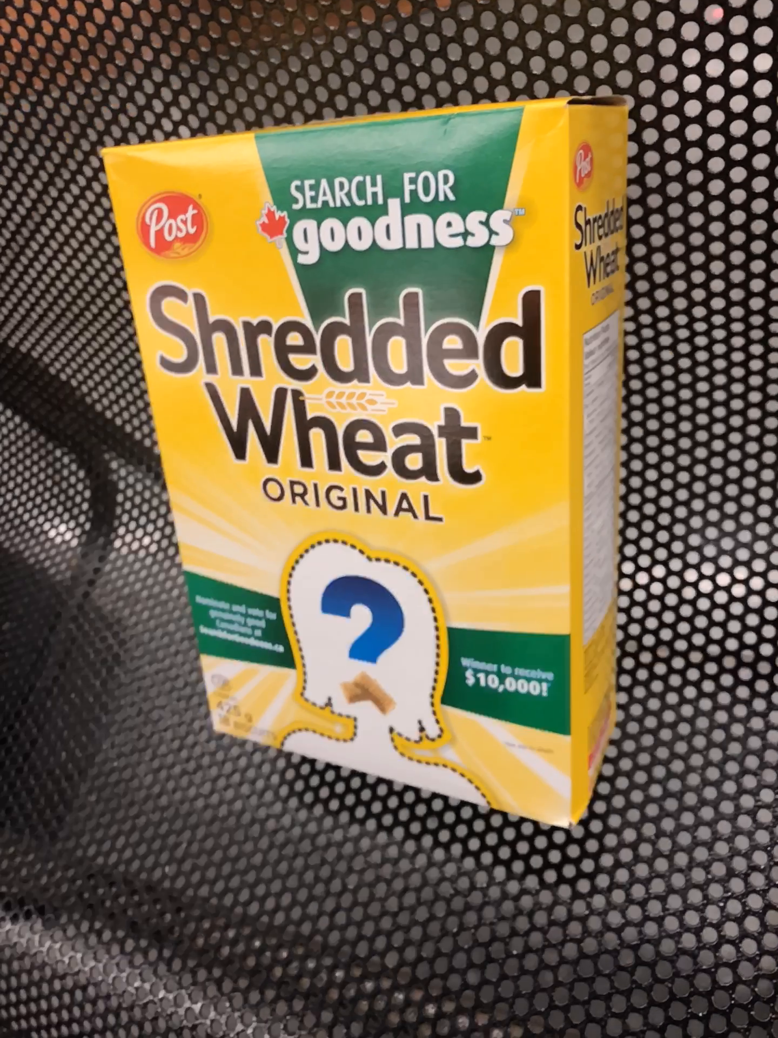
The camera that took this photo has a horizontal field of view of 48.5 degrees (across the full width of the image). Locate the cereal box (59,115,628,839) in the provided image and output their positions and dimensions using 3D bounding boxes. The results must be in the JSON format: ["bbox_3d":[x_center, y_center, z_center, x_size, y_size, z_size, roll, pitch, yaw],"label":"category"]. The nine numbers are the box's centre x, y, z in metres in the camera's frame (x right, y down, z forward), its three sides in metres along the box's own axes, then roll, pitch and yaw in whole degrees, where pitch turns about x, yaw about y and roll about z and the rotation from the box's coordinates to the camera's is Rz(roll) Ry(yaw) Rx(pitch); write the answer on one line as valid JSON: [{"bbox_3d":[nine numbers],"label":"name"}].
[{"bbox_3d":[-0.009,-0.021,0.397,0.211,0.279,0.090,7,25,27],"label":"cereal box"}]
